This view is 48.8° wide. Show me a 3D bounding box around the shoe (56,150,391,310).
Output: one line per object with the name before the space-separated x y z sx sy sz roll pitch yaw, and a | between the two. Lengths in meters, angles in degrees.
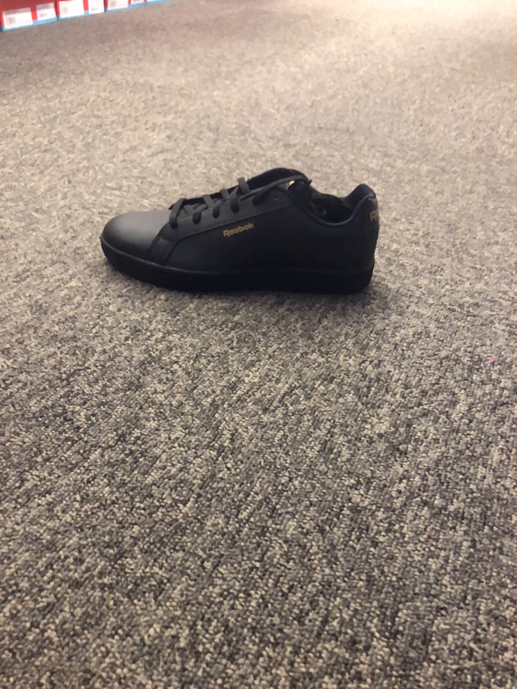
shoe | -0.025 -0.104 0.503 0.260 0.089 0.099 5 37 5
